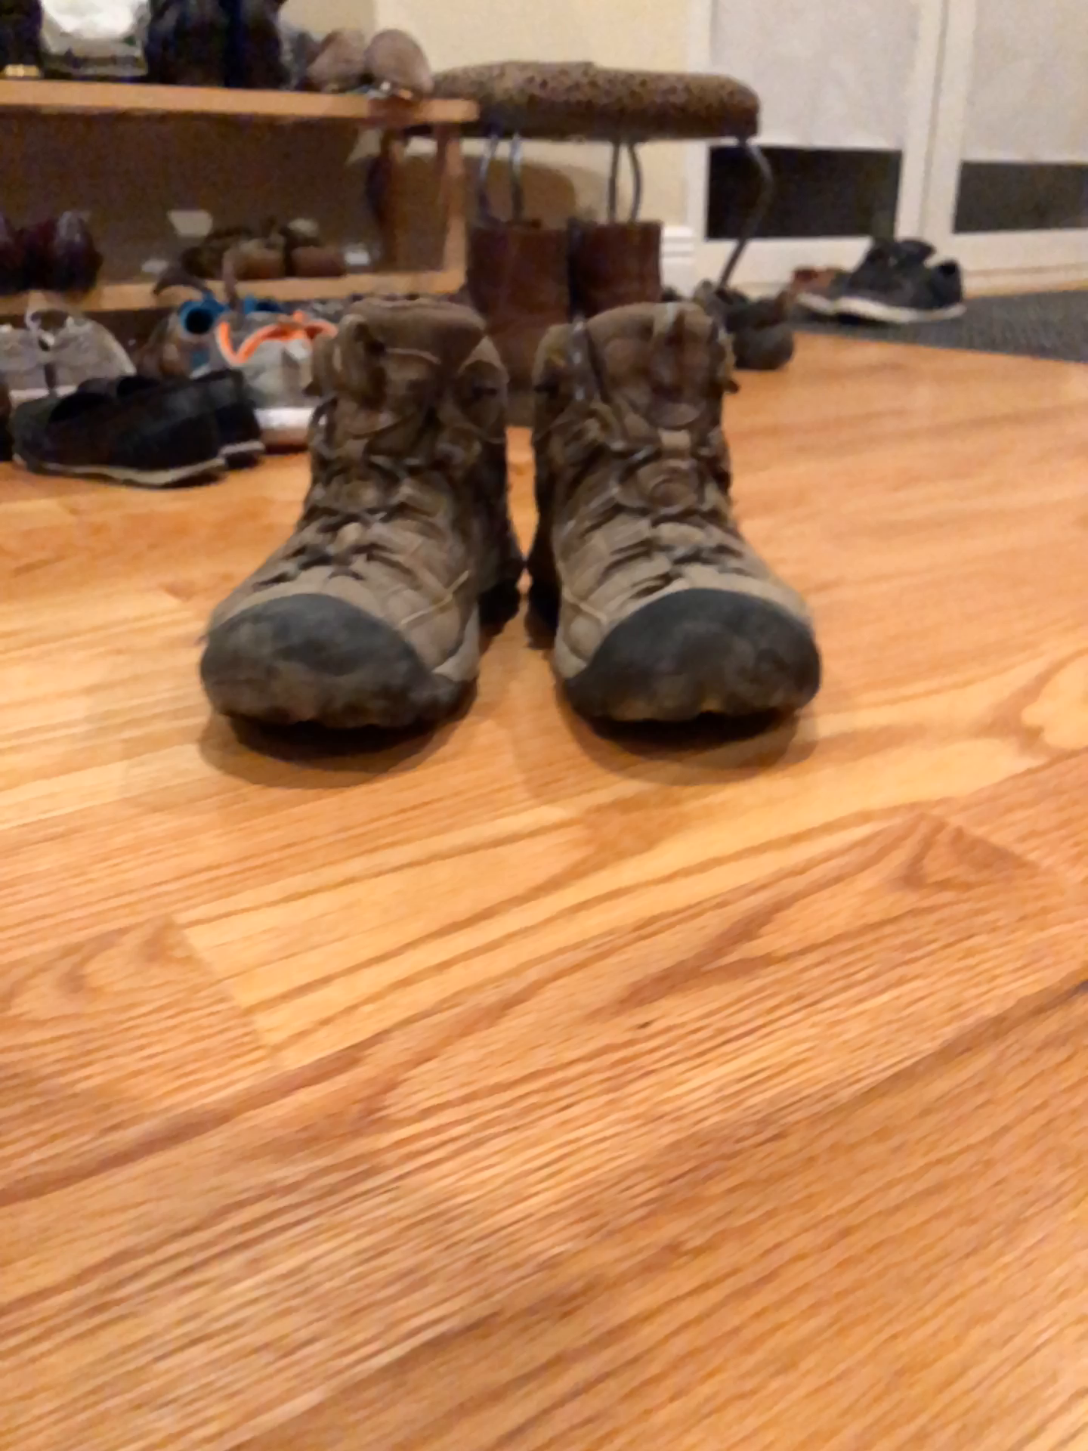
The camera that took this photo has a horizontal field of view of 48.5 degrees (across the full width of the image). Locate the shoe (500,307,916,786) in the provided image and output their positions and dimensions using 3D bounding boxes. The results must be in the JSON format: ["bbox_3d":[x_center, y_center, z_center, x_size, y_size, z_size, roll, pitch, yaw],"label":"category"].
[{"bbox_3d":[0.047,-0.096,0.515,0.107,0.139,0.261,-3,23,-6],"label":"shoe"}]

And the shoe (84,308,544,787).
[{"bbox_3d":[-0.072,-0.096,0.514,0.107,0.139,0.261,3,23,7],"label":"shoe"}]
